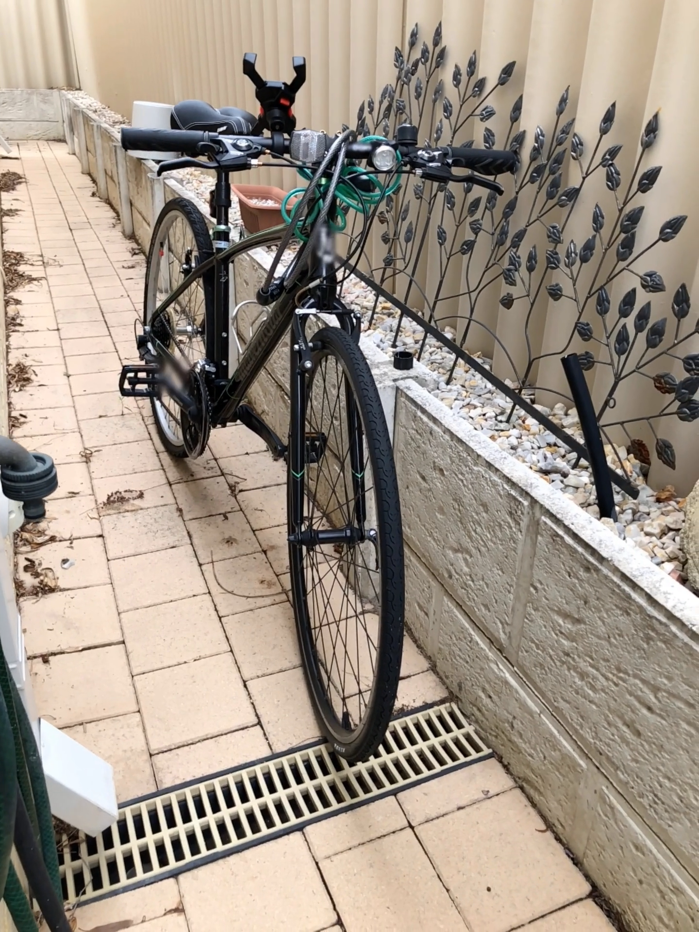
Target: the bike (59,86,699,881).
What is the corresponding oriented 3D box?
[{"bbox_3d":[-0.152,-0.269,1.601,0.638,0.859,1.705,-9,30,-21],"label":"bike"}]
